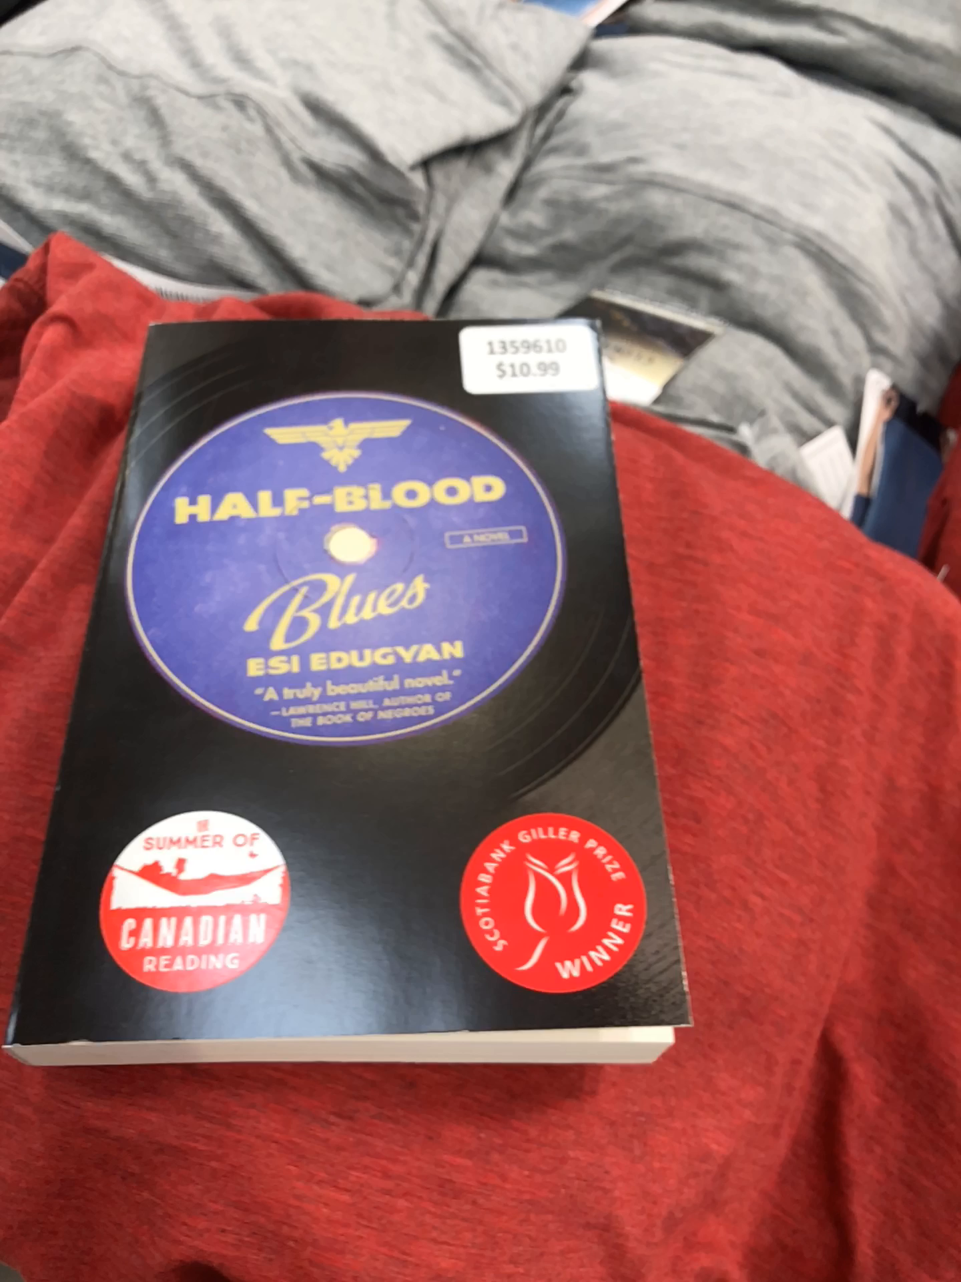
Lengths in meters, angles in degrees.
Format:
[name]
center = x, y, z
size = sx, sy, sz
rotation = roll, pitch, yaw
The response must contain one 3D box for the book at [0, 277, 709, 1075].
[book]
center = -0.030, -0.007, 0.280
size = 0.146, 0.025, 0.220
rotation = 2, 56, -5
